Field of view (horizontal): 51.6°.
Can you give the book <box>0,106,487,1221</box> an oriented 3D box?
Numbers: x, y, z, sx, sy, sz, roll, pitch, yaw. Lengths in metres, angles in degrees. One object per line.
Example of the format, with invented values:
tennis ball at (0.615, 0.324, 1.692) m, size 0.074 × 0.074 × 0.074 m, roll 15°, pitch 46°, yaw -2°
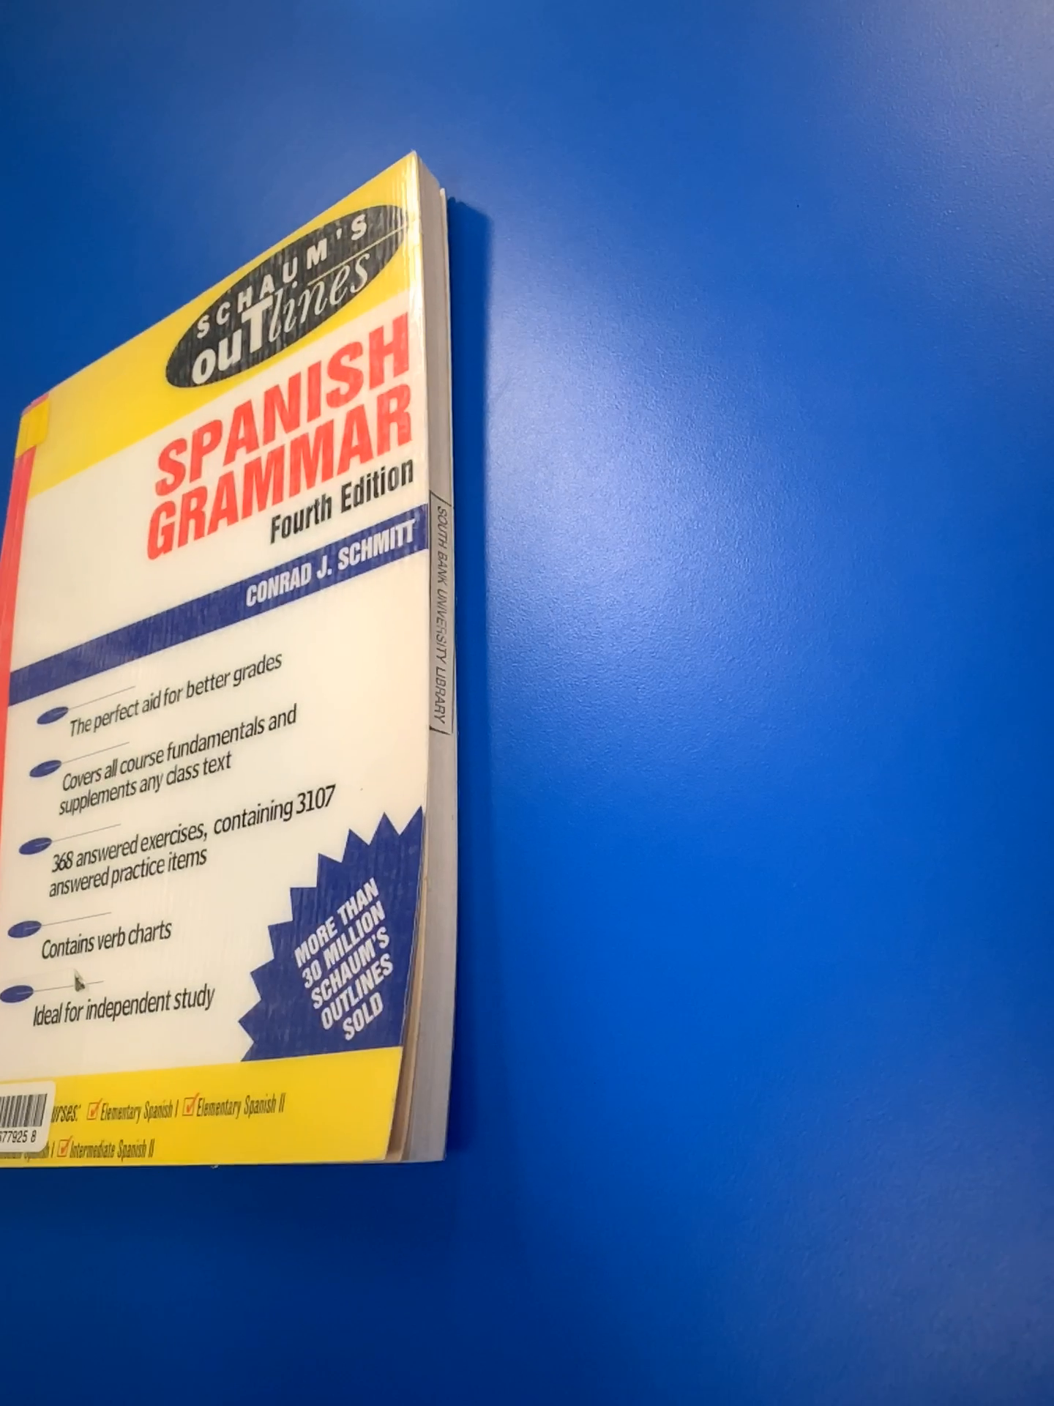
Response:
book at (-0.111, -0.006, 0.321) m, size 0.211 × 0.040 × 0.281 m, roll -16°, pitch 64°, yaw 31°
